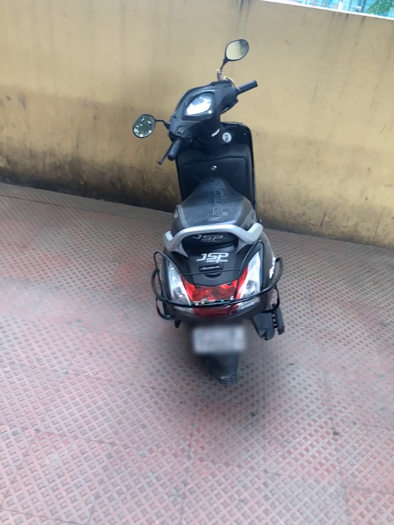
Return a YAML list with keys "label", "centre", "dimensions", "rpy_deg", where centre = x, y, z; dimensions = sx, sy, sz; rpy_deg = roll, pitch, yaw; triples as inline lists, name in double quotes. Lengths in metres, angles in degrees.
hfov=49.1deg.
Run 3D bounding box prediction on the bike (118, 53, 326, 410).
- label: "bike"
  centre: [0.057, -0.272, 2.173]
  dimensions: [0.578, 1.139, 1.489]
  rpy_deg: [7, 34, -2]
